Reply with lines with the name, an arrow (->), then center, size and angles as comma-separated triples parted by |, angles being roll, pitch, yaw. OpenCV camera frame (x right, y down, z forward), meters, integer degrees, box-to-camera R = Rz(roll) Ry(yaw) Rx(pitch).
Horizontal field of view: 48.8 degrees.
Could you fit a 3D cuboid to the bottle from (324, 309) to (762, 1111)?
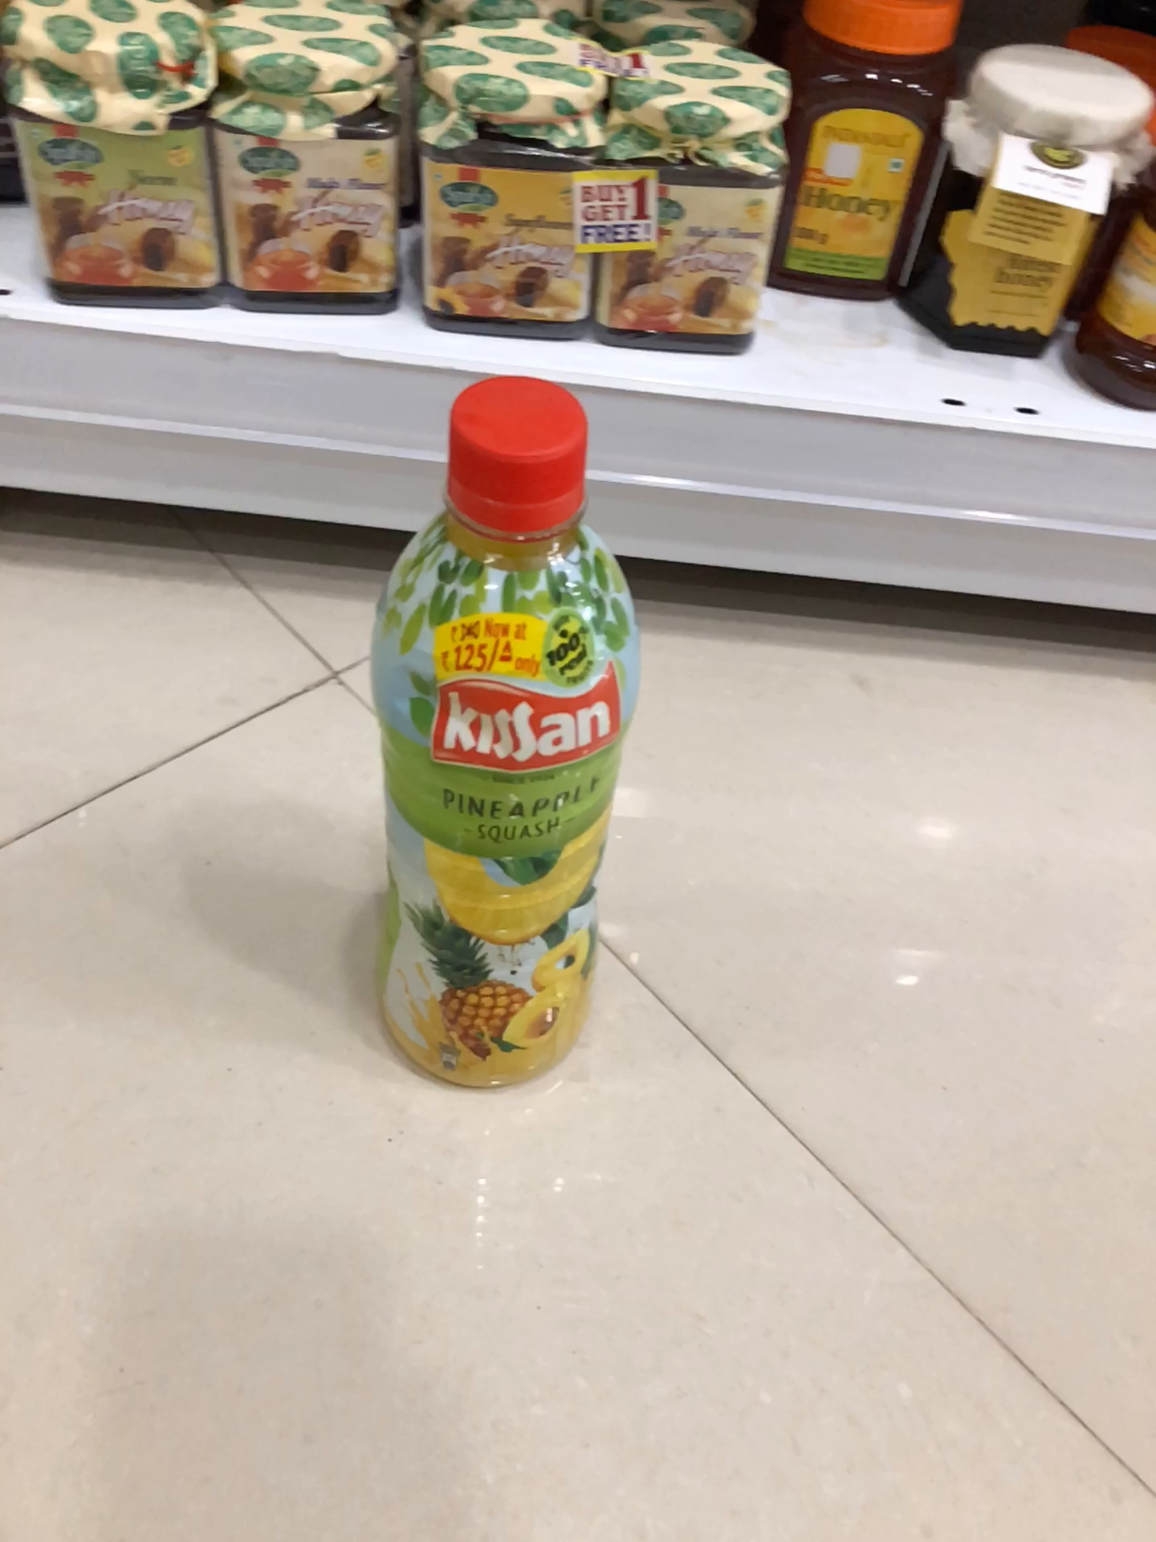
bottle -> -0.019, 0.002, 0.344 | 0.080, 0.229, 0.080 | 3, 50, -4
